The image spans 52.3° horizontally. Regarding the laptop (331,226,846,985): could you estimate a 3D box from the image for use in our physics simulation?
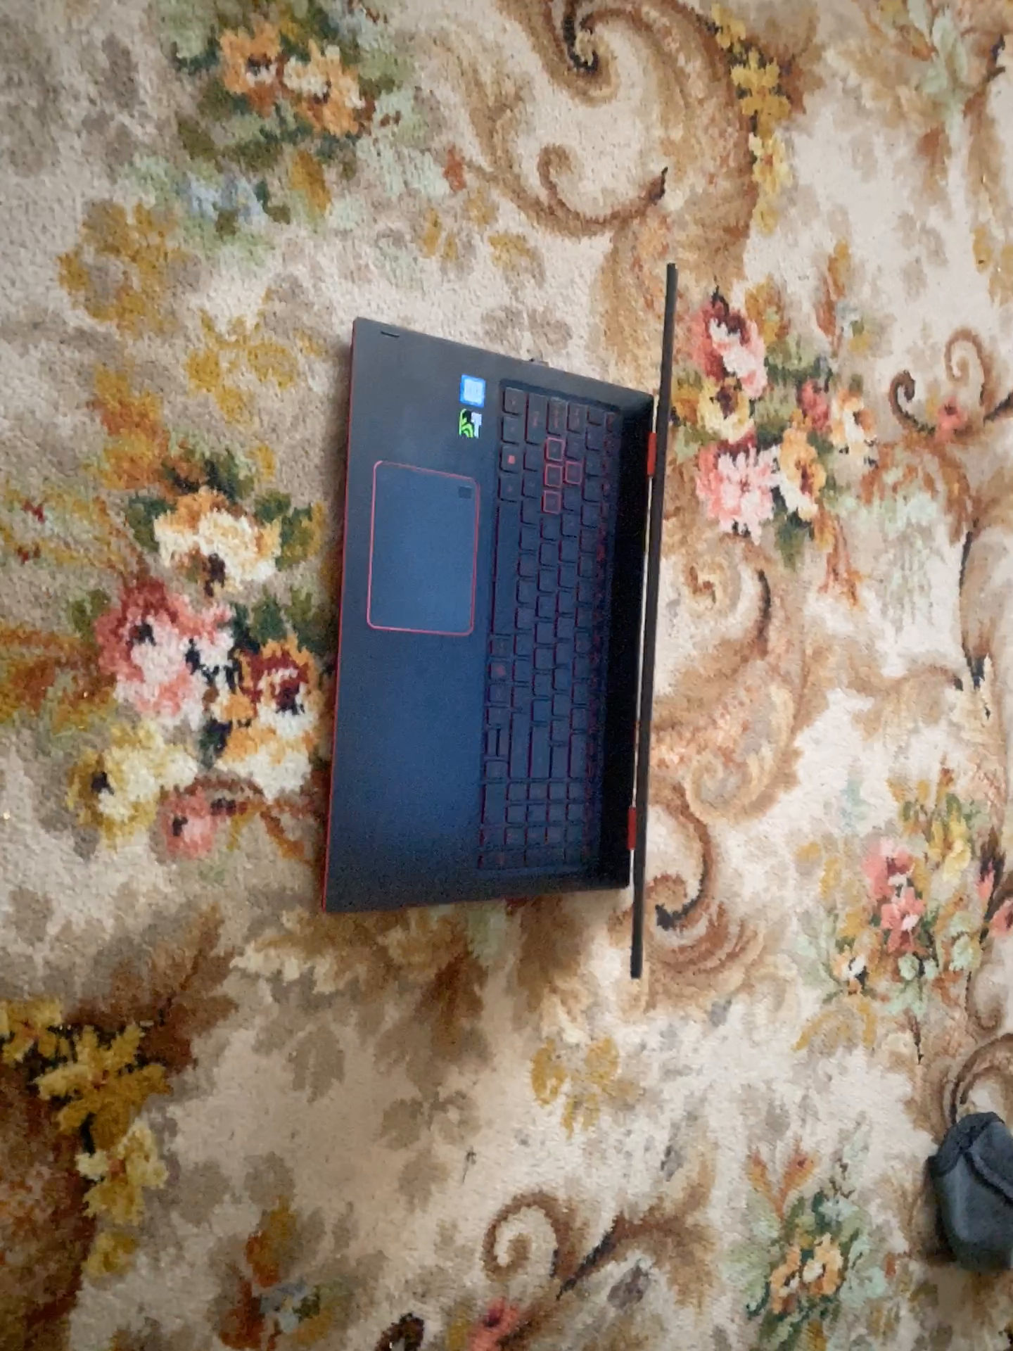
[{"bbox_3d":[0.045,-0.029,0.612,0.225,0.172,0.356,3,90,-31],"label":"laptop"}]
